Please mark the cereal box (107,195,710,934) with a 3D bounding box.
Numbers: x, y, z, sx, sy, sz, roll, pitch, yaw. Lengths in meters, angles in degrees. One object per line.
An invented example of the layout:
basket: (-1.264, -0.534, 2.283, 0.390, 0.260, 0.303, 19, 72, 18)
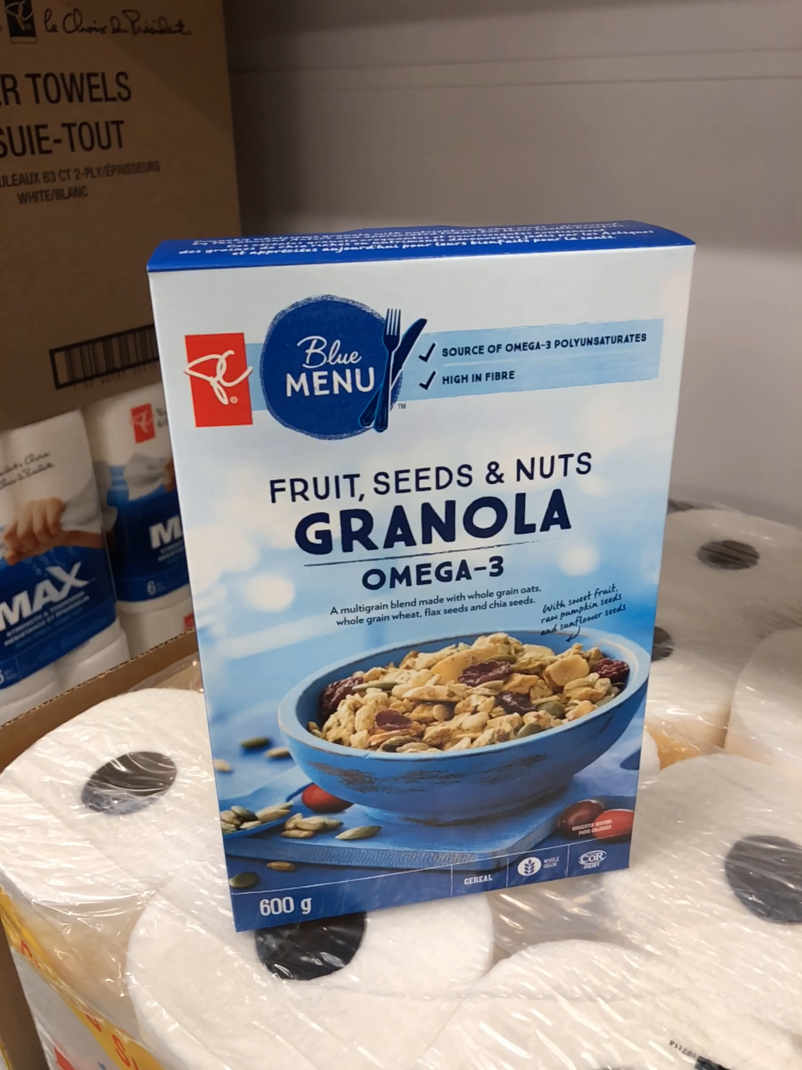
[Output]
cereal box: (0.005, 0.015, 0.311, 0.160, 0.239, 0.060, -5, 24, -7)
